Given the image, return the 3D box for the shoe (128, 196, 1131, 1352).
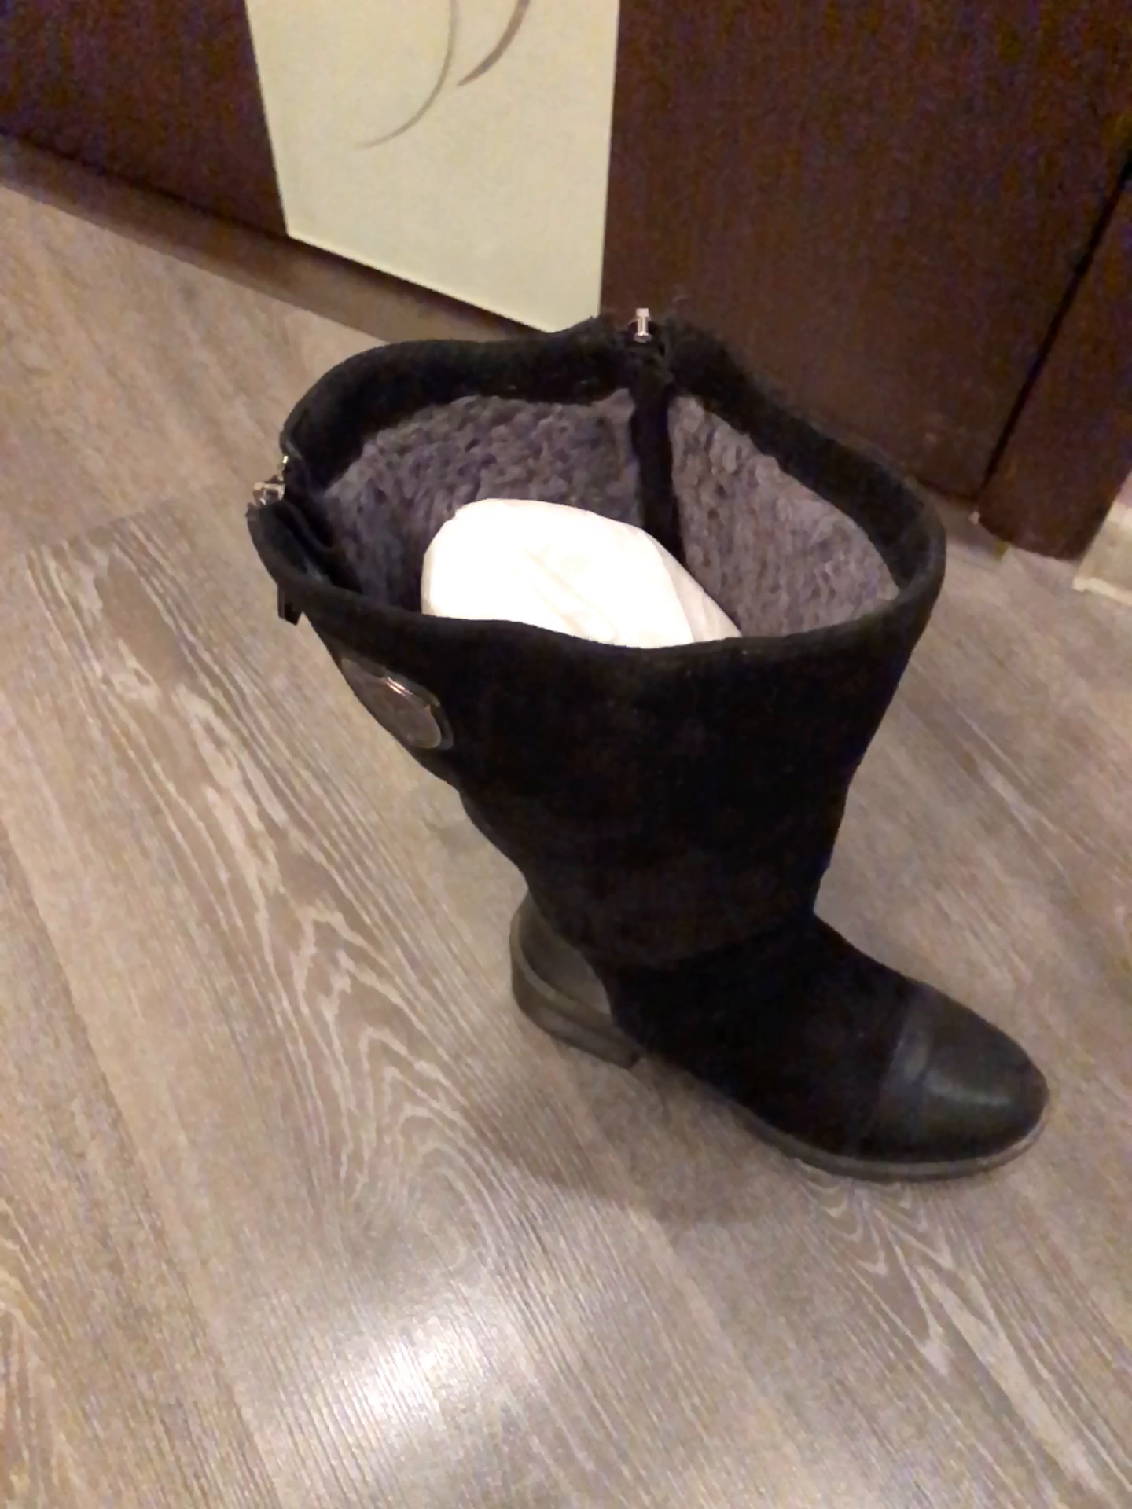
[{"bbox_3d":[0.067,0.052,0.400,0.290,0.358,0.120,18,60,9],"label":"shoe"}]
